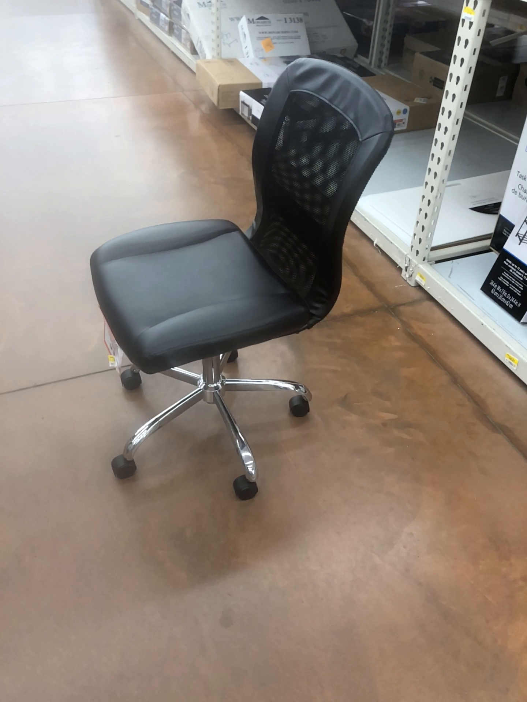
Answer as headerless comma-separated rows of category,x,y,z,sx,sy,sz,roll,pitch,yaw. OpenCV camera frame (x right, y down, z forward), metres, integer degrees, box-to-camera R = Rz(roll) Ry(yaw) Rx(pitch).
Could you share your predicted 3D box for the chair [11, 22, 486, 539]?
chair,-0.095,-0.195,1.305,0.650,0.817,0.682,-14,42,-18
